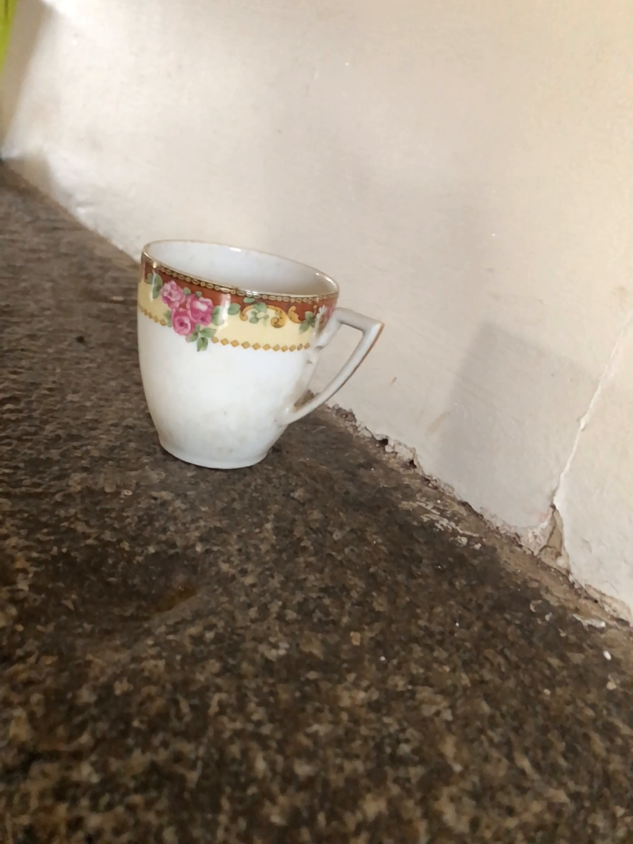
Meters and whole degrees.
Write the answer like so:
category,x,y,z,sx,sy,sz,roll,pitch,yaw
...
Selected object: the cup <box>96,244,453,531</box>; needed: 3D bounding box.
category,x,y,z,sx,sy,sz,roll,pitch,yaw
cup,-0.017,-0.020,0.239,0.090,0.060,0.070,27,27,35
